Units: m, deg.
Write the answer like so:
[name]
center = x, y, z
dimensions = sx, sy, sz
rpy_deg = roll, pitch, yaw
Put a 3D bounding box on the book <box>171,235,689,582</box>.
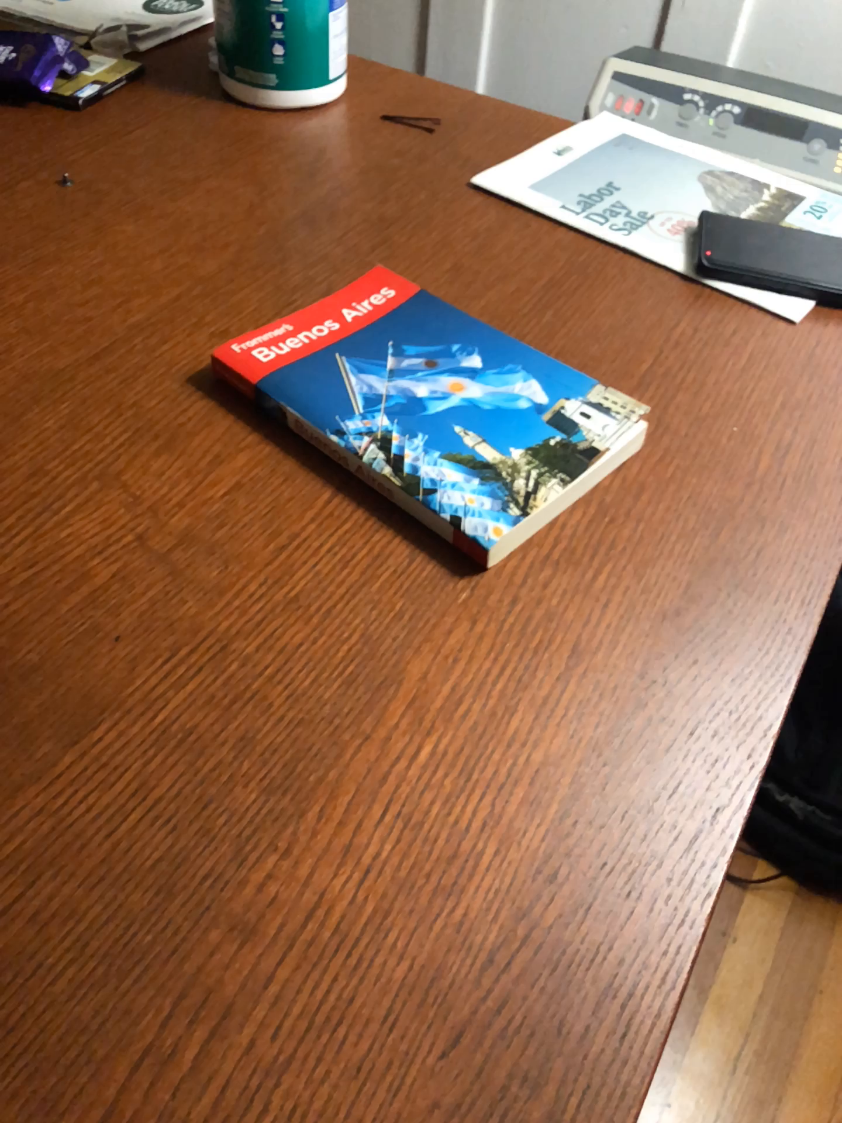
[book]
center = 0.004, -0.096, 0.492
dimensions = 0.220, 0.020, 0.161
rpy_deg = 35, 53, 24
